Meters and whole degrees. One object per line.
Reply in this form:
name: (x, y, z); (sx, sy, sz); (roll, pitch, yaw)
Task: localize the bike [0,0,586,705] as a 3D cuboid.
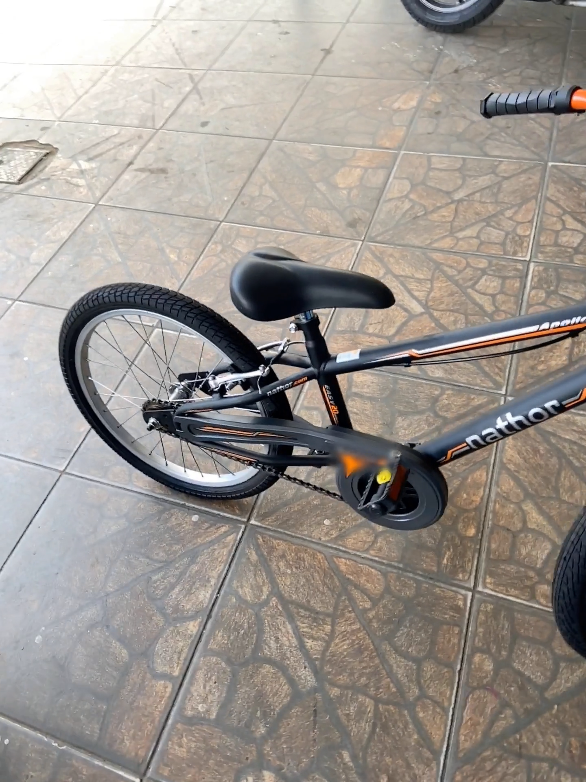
bike: (0.184, -0.123, 0.945); (1.350, 0.980, 0.726); (8, 55, 11)
